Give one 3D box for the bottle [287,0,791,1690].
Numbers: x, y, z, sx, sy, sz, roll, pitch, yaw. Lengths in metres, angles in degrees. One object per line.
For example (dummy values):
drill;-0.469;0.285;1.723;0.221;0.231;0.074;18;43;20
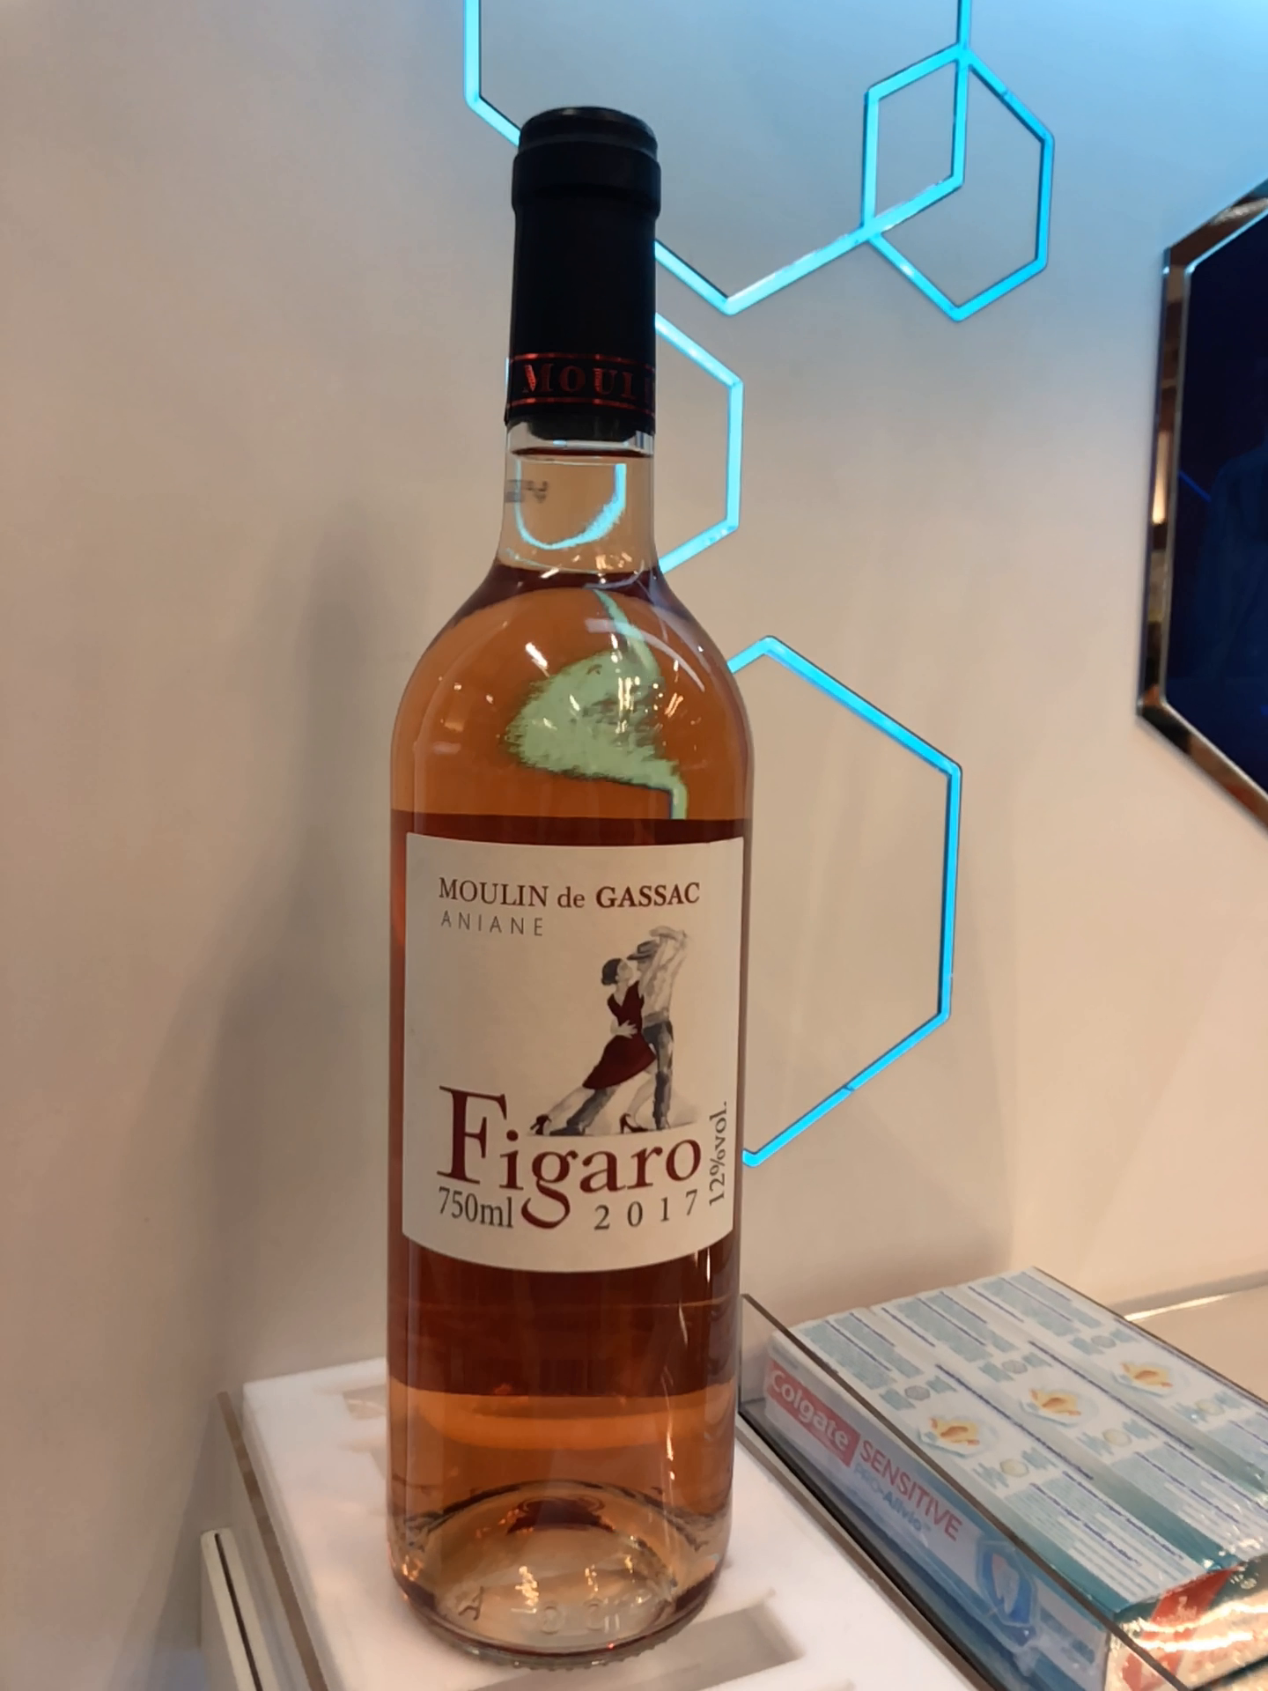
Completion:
bottle;-0.023;0.006;0.305;0.090;0.319;0.080;1;5;-6
